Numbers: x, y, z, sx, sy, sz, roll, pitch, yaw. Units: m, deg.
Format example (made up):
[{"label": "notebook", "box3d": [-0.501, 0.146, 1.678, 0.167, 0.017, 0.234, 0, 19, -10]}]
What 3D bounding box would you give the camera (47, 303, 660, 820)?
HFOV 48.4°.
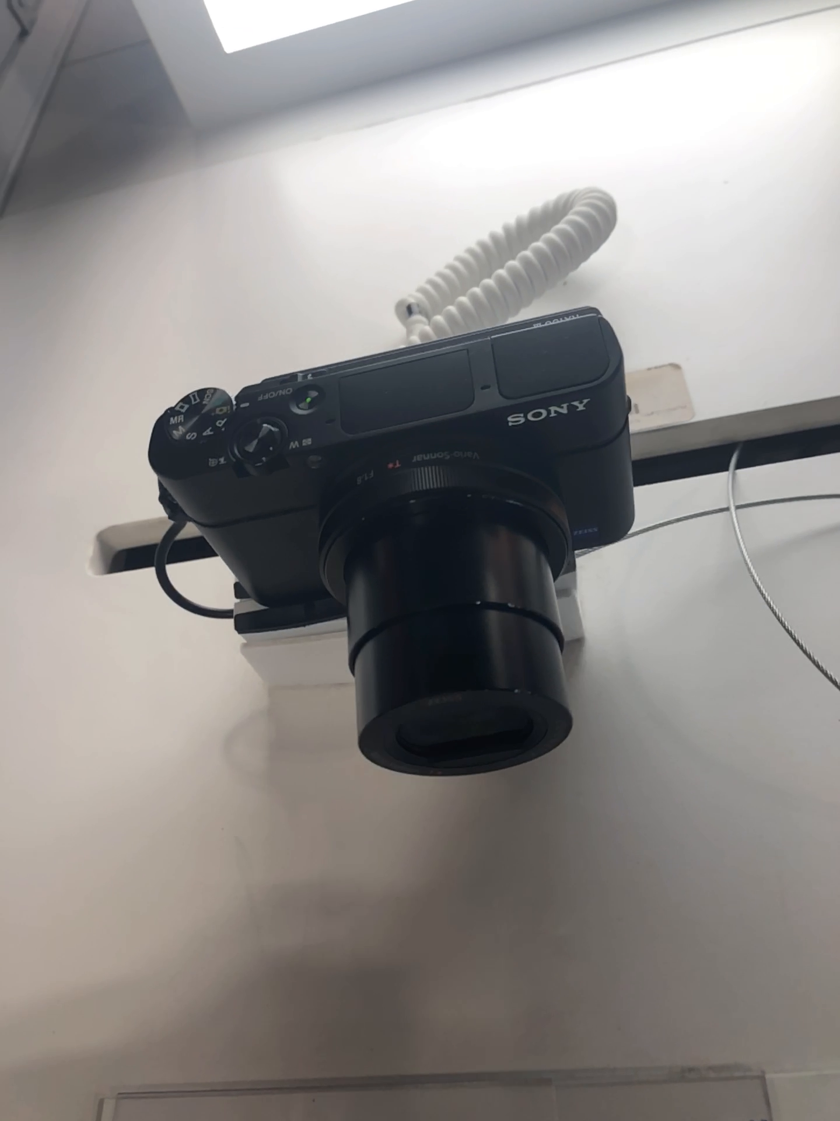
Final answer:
[{"label": "camera", "box3d": [-0.008, 0.005, 0.208, 0.105, 0.074, 0.070, -9, 53, 12]}]
